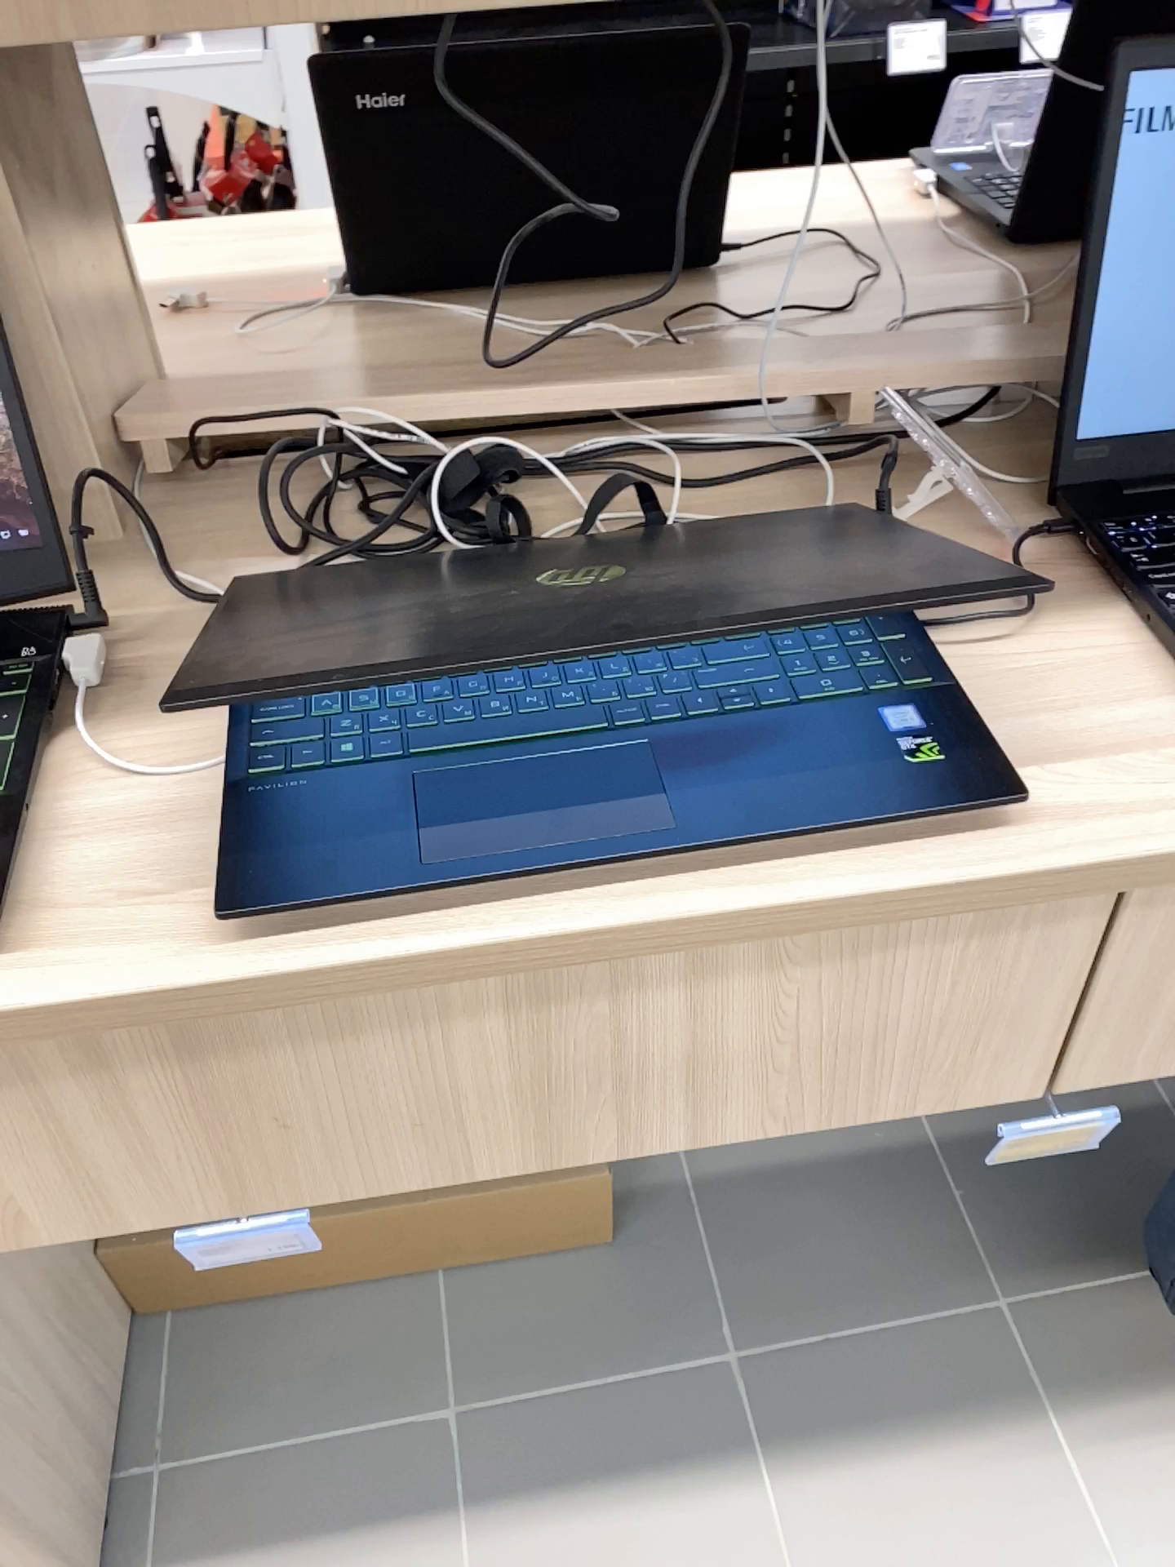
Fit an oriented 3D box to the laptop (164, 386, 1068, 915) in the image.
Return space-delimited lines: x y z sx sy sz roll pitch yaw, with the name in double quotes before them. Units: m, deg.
"laptop" 0.000 -0.083 0.586 0.361 0.092 0.243 -8 43 -7
